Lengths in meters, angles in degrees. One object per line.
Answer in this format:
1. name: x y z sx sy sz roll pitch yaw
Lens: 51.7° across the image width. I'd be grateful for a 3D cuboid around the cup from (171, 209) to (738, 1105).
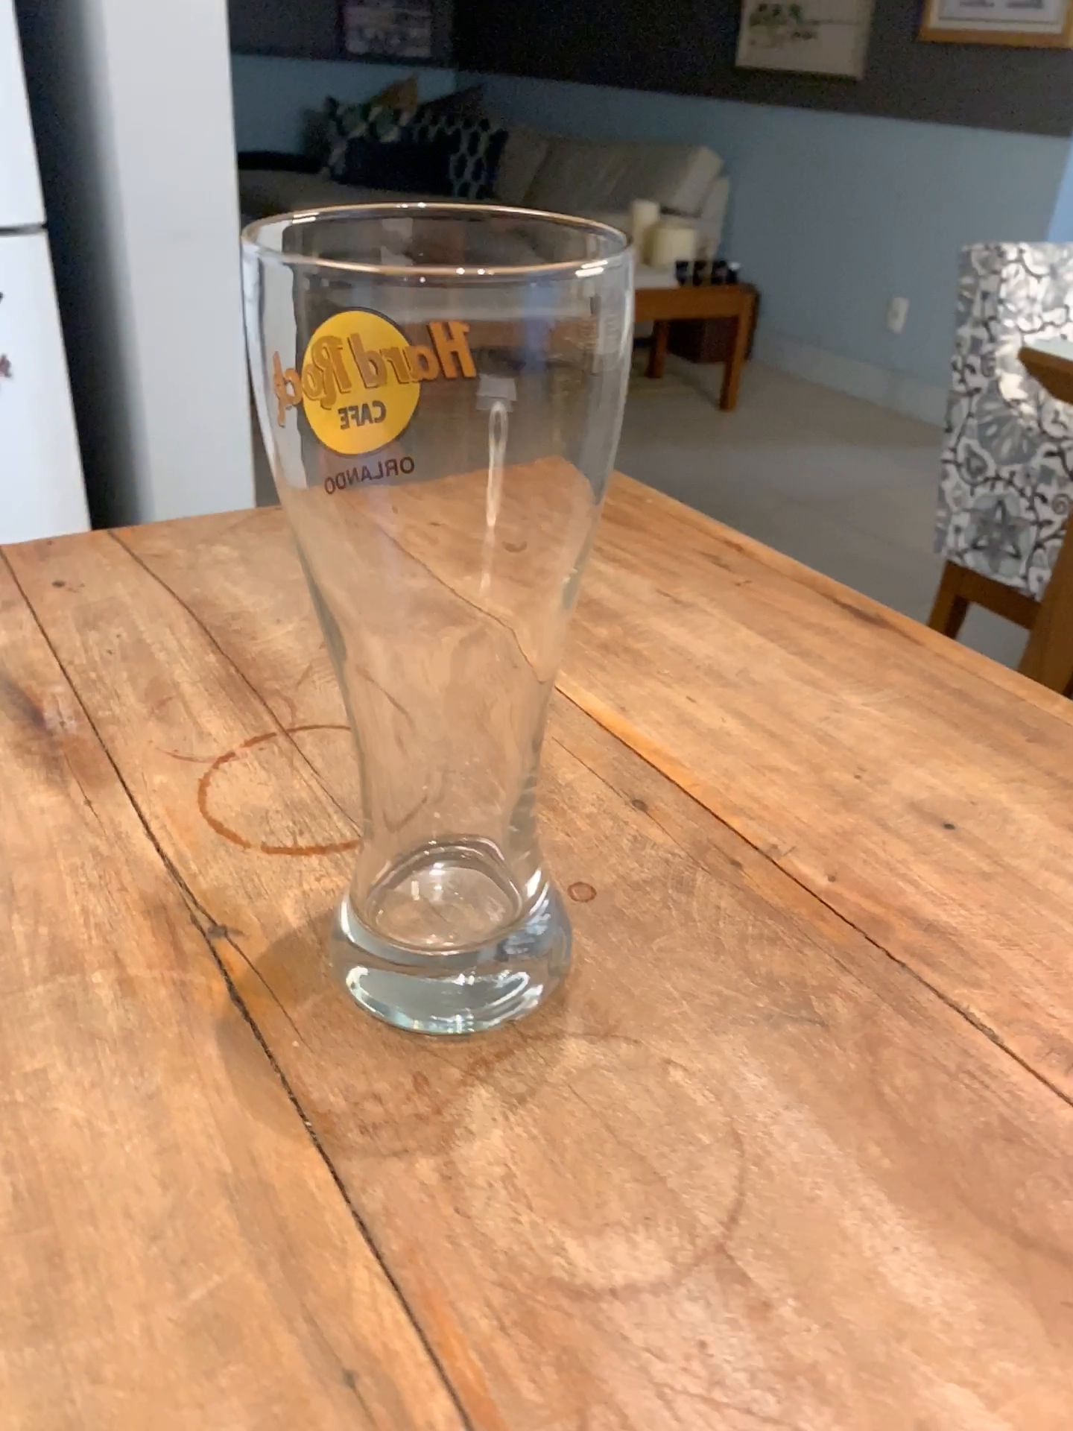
1. cup: -0.024 -0.019 0.293 0.090 0.201 0.090 2 28 -1
